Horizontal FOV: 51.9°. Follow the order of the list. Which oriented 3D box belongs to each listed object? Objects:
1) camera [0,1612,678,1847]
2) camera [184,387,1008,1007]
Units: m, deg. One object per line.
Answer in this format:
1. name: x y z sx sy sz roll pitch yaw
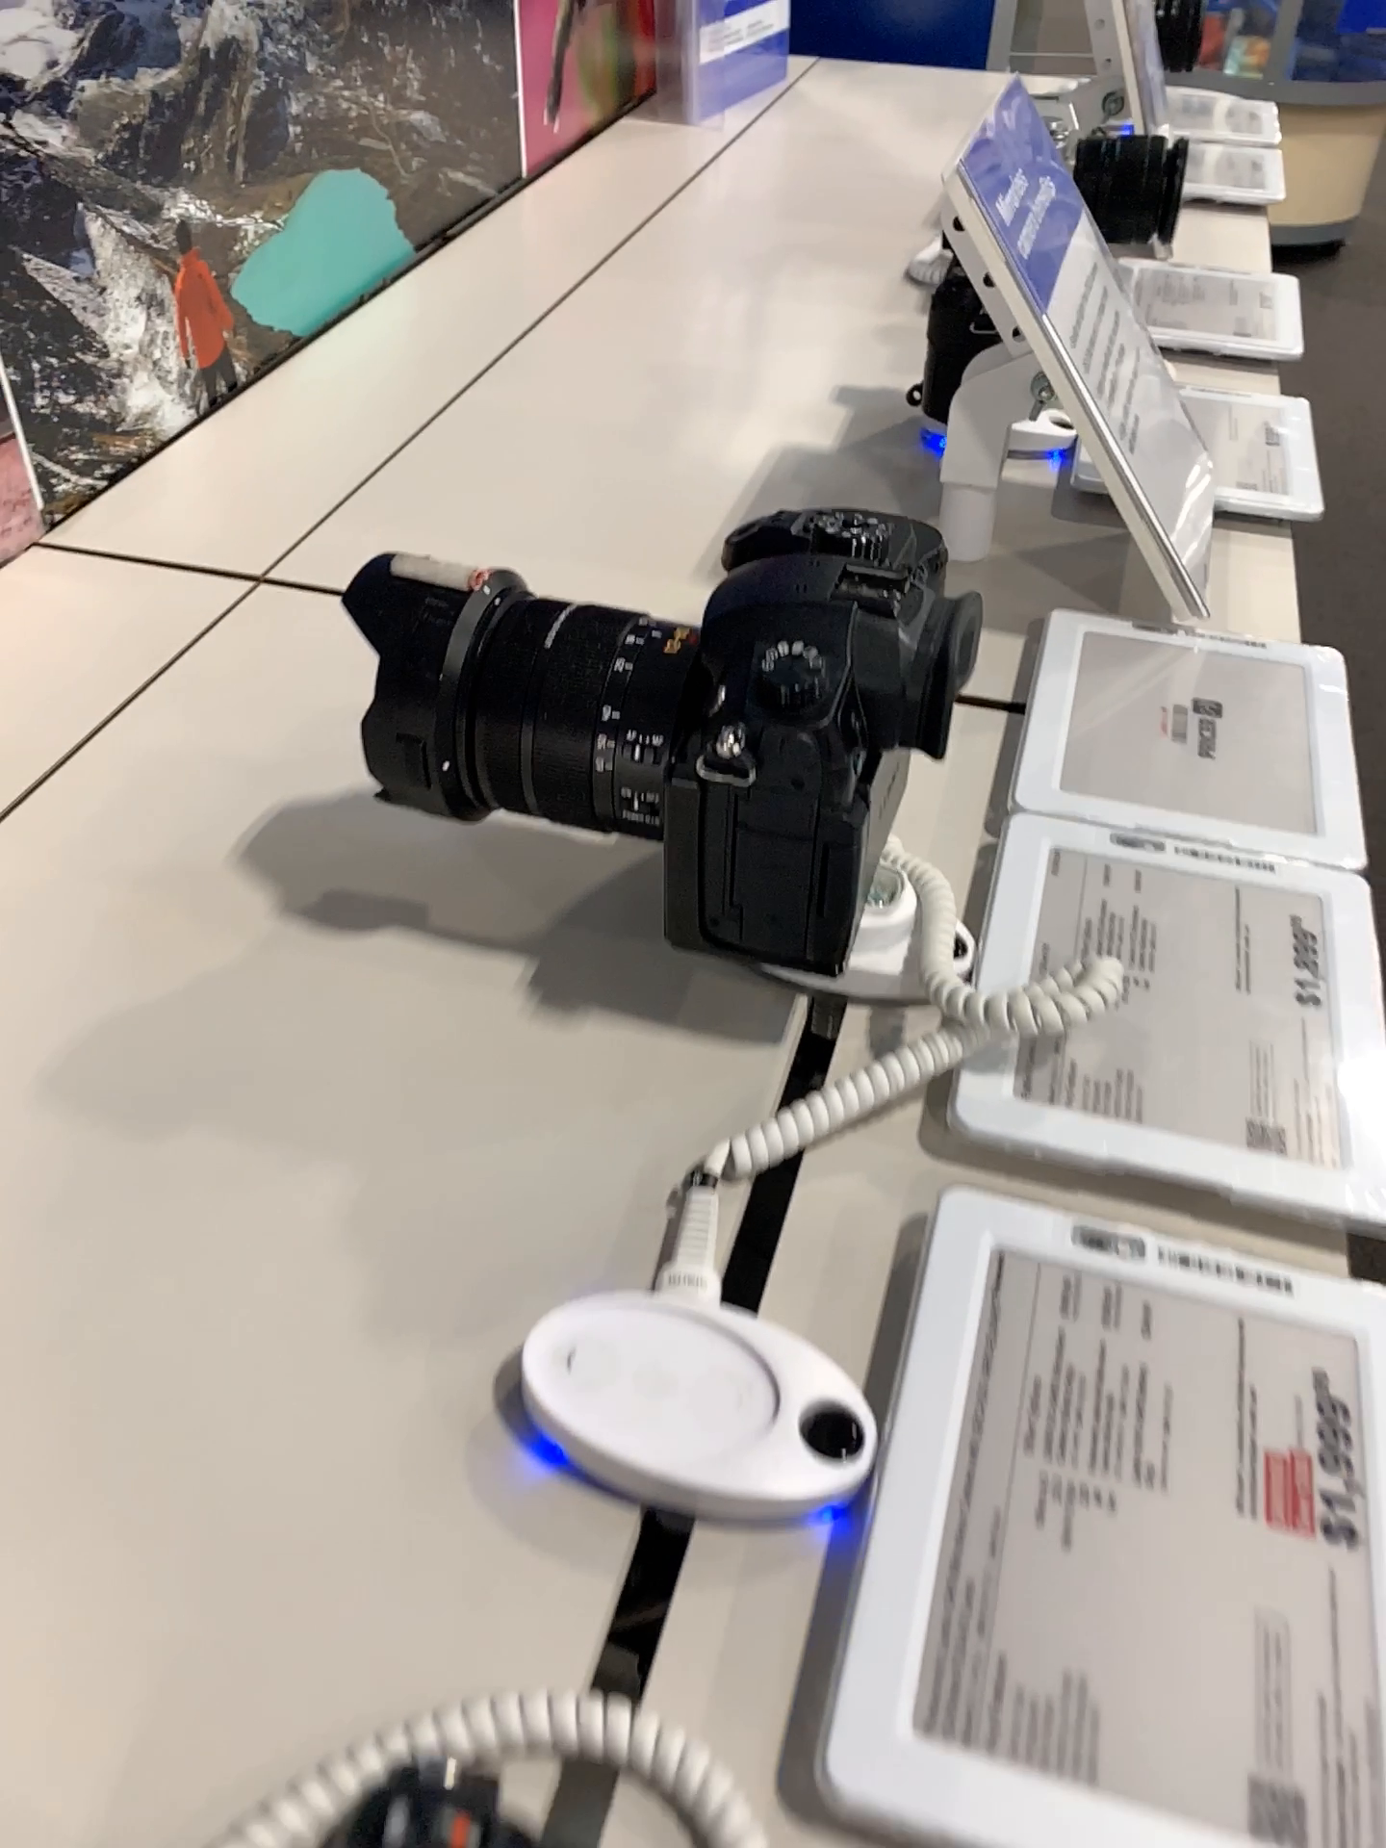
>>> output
1. camera: -0.052 0.173 0.169 0.070 0.080 0.131 10 43 10
2. camera: -0.019 -0.077 0.435 0.200 0.099 0.141 10 43 10
